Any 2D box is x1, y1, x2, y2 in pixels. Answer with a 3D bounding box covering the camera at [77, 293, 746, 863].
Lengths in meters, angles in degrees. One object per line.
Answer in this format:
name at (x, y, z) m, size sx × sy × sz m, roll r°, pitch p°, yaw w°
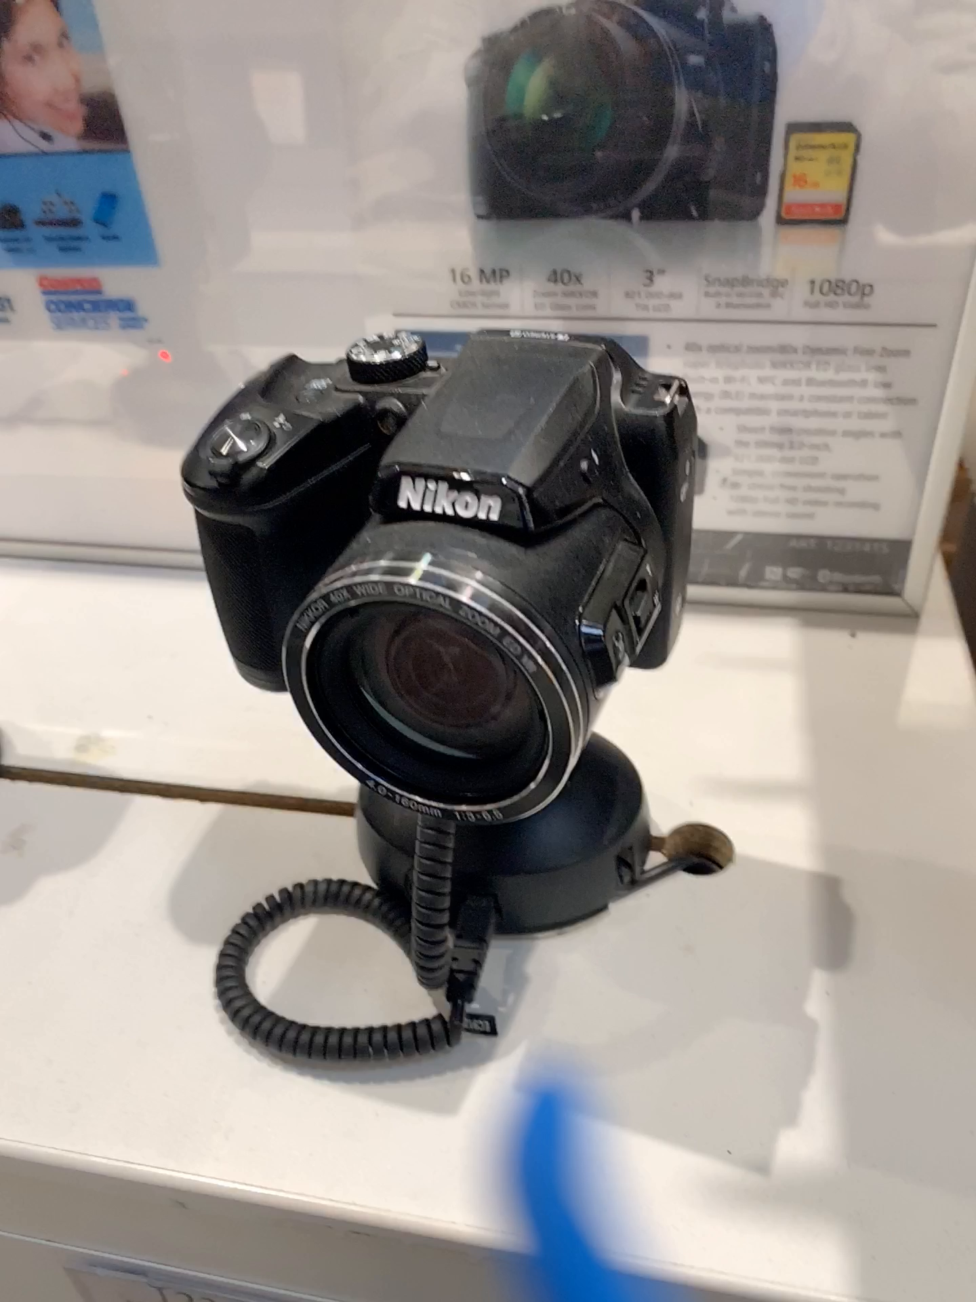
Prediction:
camera at (-0.009, -0.018, 0.214) m, size 0.110 × 0.089 × 0.060 m, roll 8°, pitch 38°, yaw 15°
